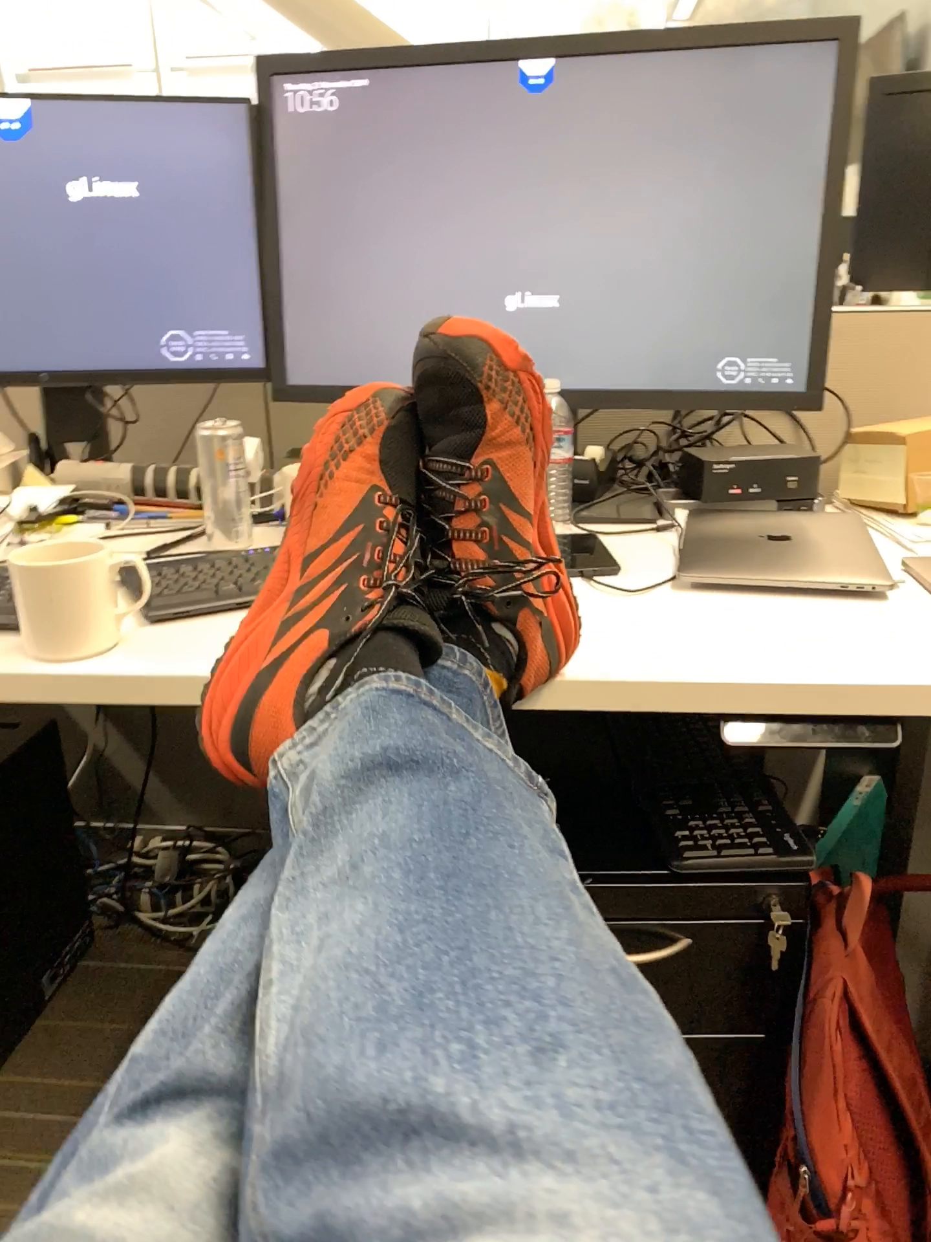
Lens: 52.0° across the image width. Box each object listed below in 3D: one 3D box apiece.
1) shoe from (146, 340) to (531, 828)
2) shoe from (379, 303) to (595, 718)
[{"bbox_3d":[-0.079,-0.031,0.624,0.133,0.289,0.091,12,-12,38],"label":"shoe"},{"bbox_3d":[0.021,-0.080,0.688,0.107,0.271,0.082,9,23,35],"label":"shoe"}]
